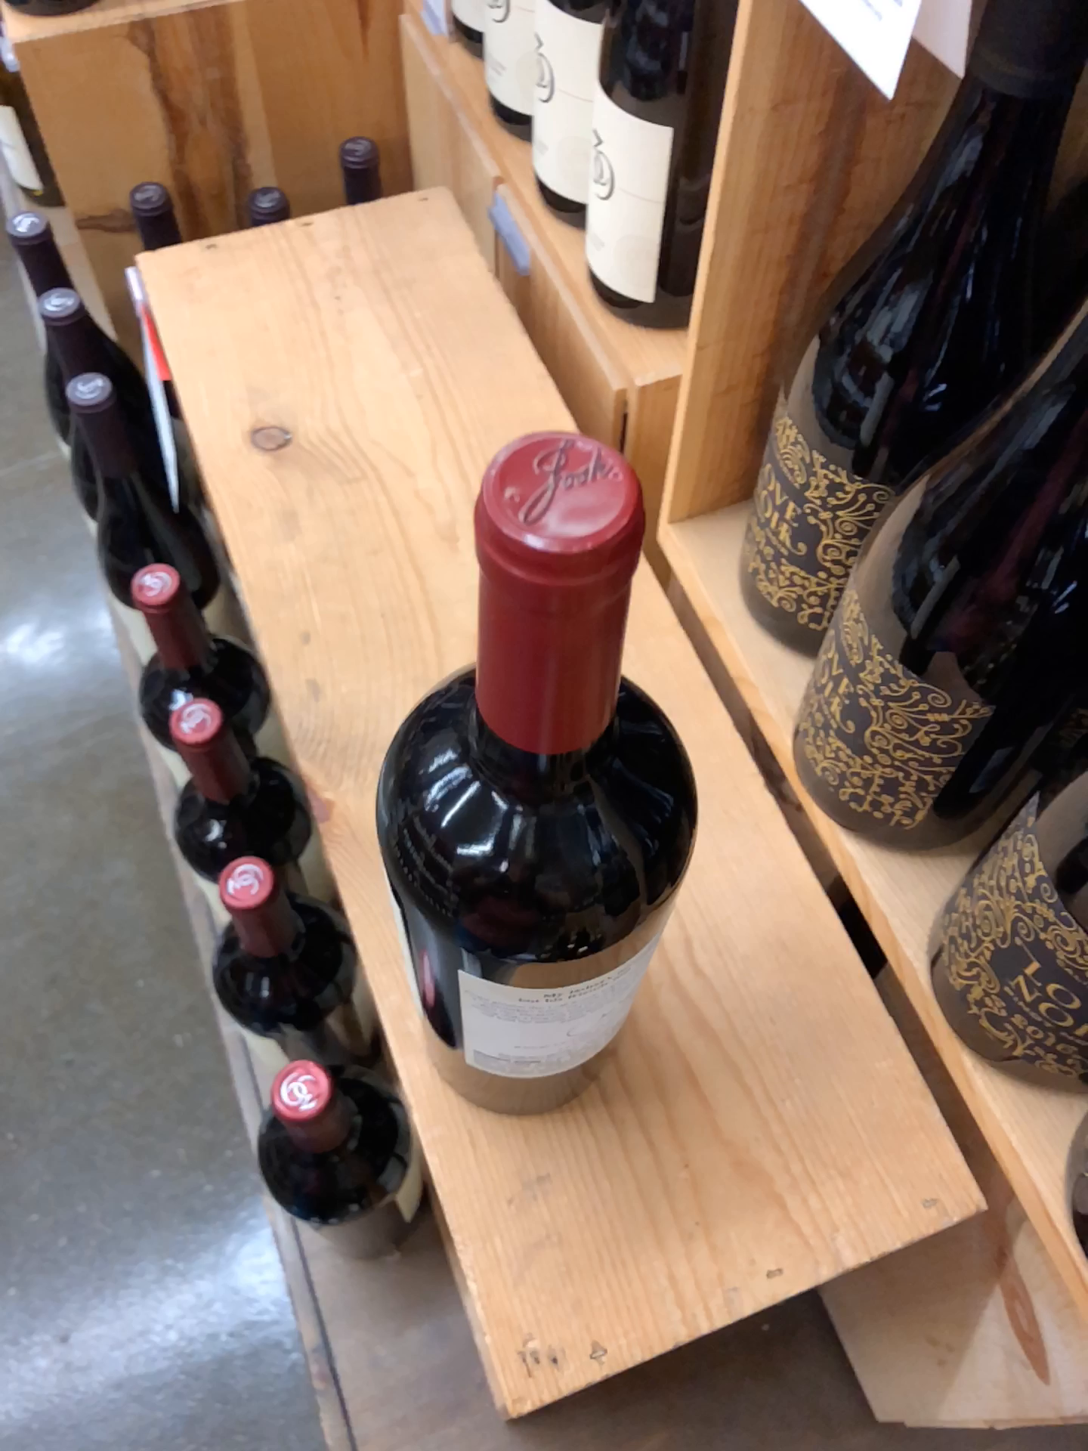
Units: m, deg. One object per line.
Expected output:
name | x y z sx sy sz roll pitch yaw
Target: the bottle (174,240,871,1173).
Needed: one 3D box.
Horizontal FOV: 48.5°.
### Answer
bottle | -0.004 0.033 0.321 0.080 0.294 0.080 0 60 -1
